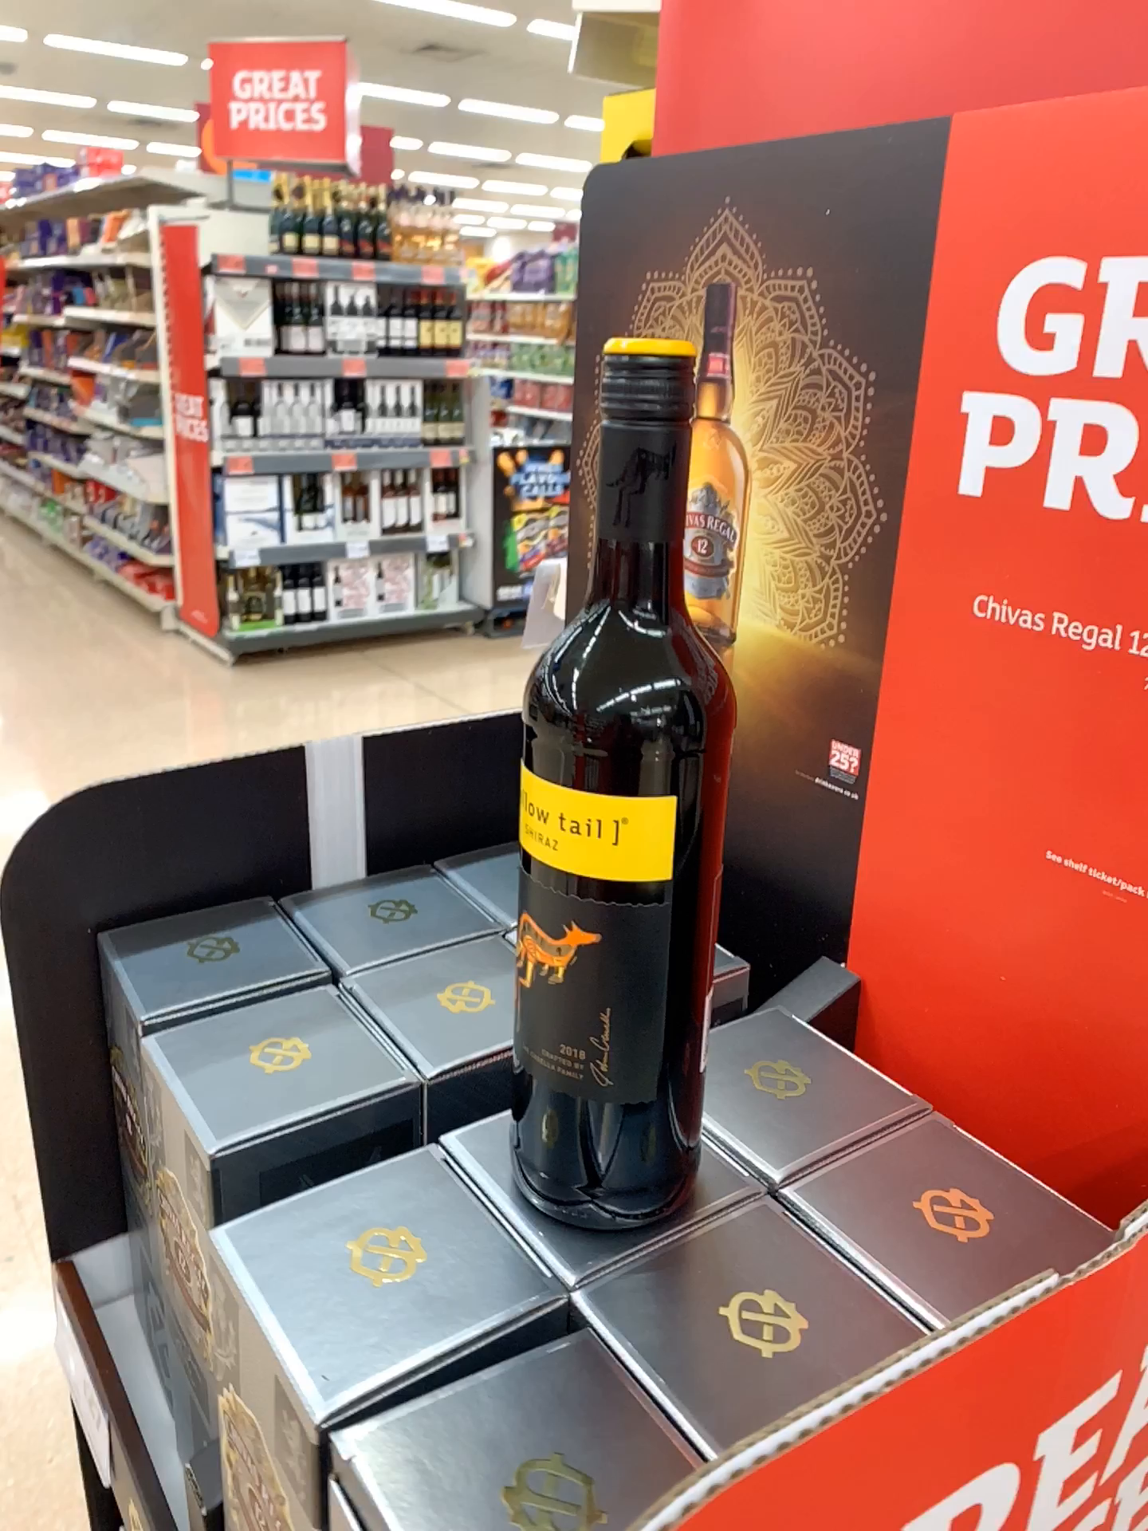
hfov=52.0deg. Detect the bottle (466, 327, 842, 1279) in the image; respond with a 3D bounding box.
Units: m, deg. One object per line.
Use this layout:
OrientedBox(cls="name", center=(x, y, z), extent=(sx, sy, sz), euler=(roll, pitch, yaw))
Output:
OrientedBox(cls="bottle", center=(0.018, 0.014, 0.405), extent=(0.081, 0.305, 0.078), euler=(2, 19, -1))
